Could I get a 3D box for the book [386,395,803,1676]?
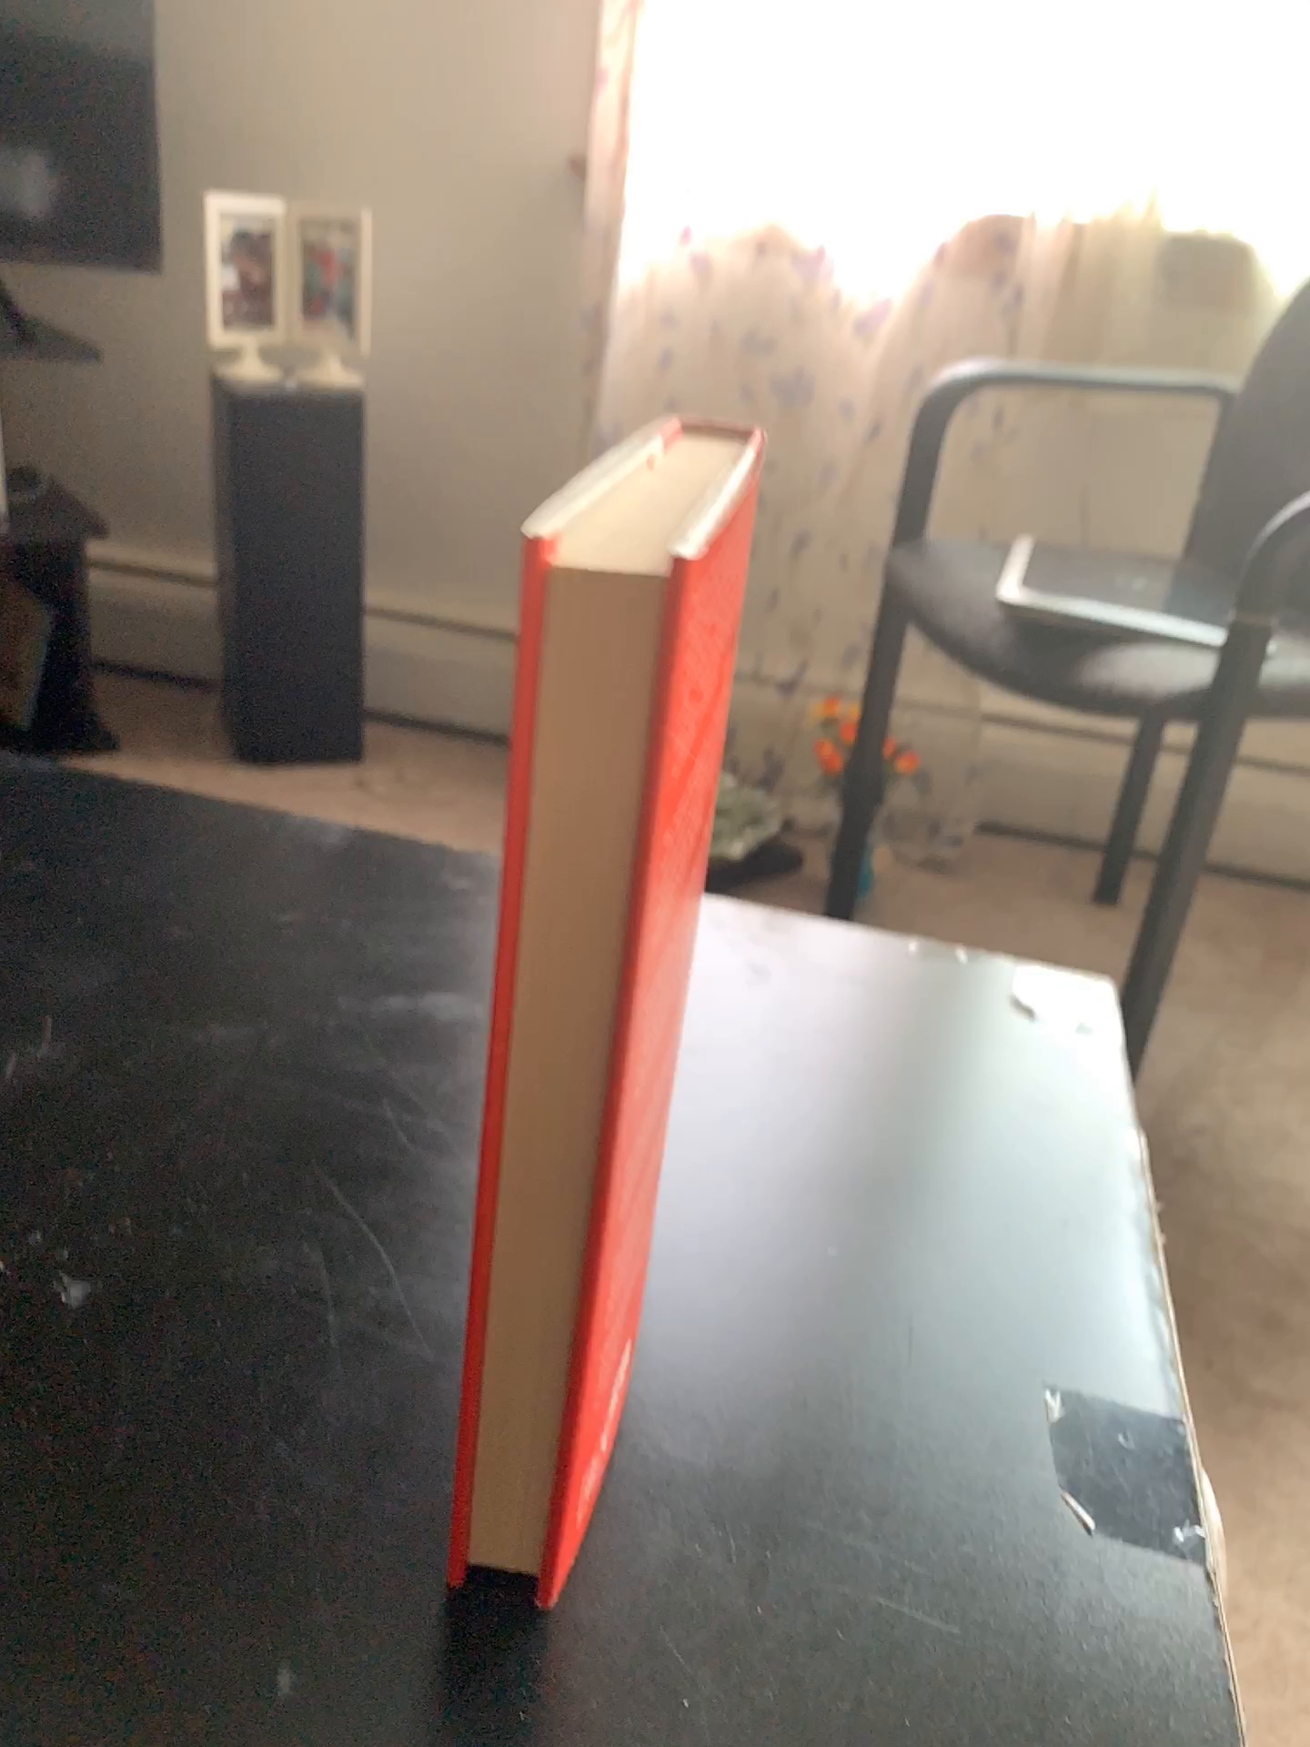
[{"bbox_3d":[-0.010,0.023,0.319,0.040,0.238,0.171,10,24,6],"label":"book"}]
